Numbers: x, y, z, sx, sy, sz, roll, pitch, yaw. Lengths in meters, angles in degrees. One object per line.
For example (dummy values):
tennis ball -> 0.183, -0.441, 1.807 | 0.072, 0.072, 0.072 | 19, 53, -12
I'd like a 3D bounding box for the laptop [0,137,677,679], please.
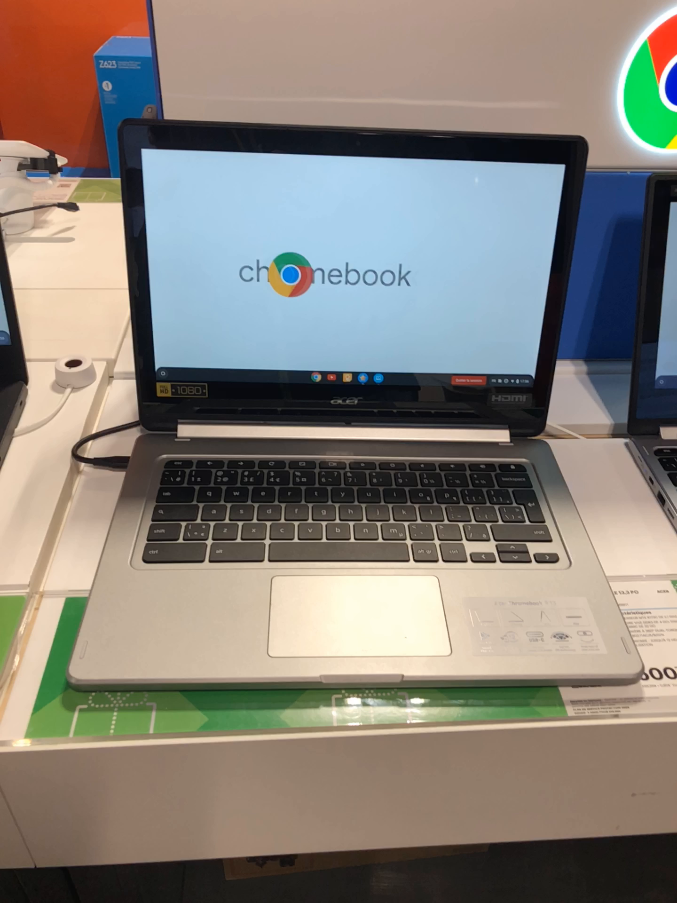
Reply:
laptop -> 0.011, -0.034, 0.441 | 0.317, 0.226, 0.240 | 1, 36, -3
